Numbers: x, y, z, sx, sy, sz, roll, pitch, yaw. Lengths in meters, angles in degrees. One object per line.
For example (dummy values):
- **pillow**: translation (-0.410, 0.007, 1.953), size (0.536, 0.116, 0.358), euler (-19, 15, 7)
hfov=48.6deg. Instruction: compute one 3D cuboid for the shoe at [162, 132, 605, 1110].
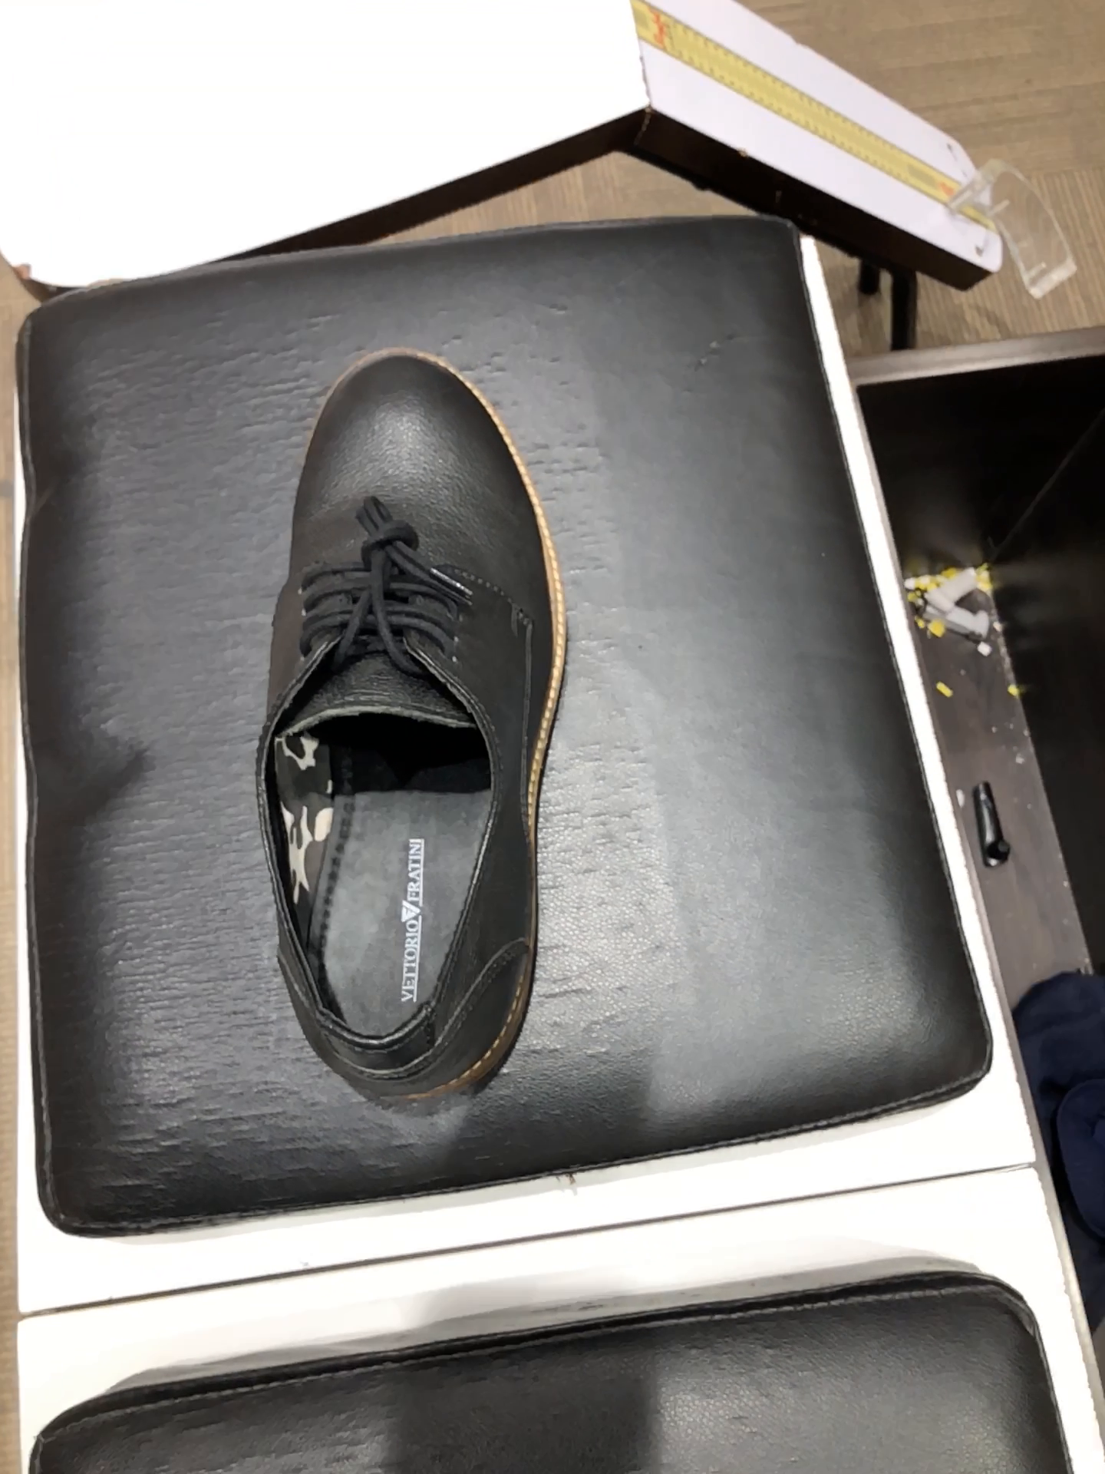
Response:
- **shoe**: translation (-0.052, -0.036, 0.395), size (0.110, 0.100, 0.291), euler (-5, 73, 0)
